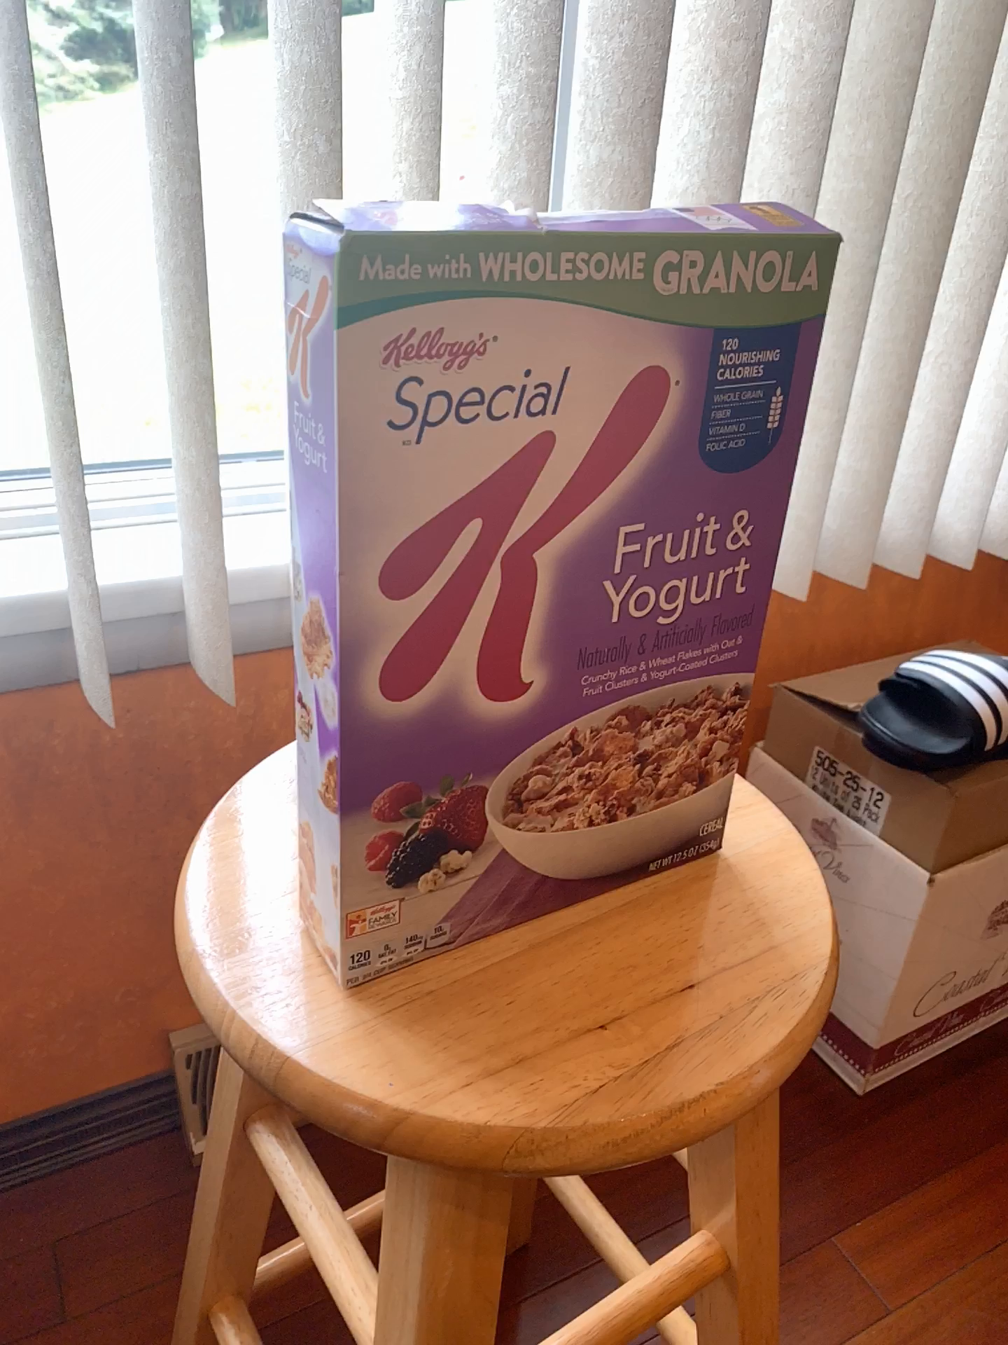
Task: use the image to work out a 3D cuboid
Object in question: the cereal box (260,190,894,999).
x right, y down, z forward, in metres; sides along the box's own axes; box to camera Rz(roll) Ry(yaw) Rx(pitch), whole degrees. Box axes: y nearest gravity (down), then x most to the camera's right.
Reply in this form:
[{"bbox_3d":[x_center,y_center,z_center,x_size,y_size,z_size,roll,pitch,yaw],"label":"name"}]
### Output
[{"bbox_3d":[0.022,-0.032,0.412,0.210,0.278,0.070,-12,32,-29],"label":"cereal box"}]
